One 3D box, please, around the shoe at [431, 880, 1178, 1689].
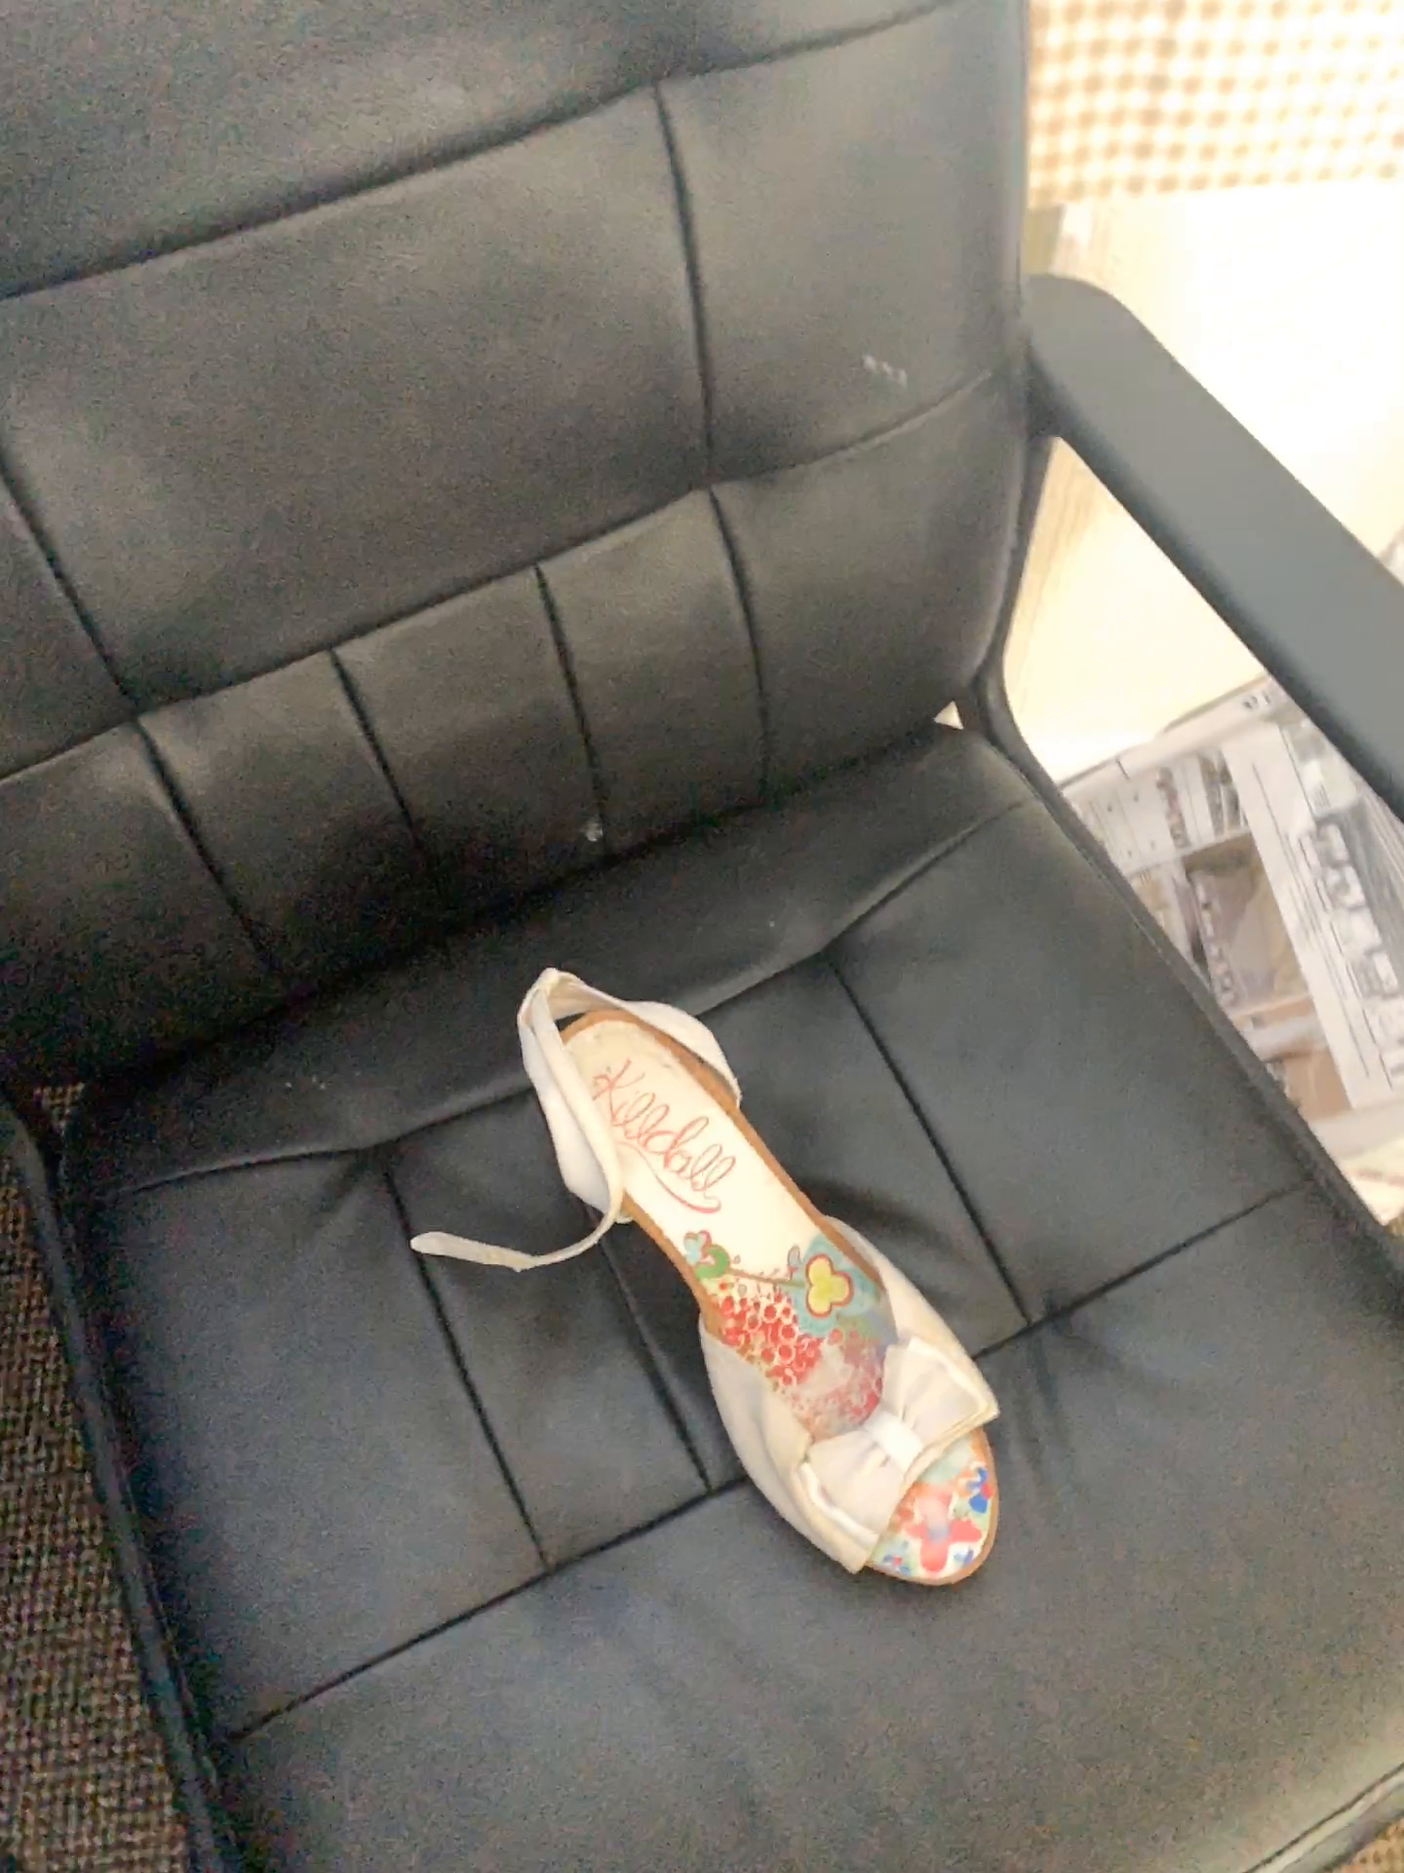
[{"bbox_3d":[0.025,0.135,0.528,0.100,0.189,0.241,-35,67,-16],"label":"shoe"}]
